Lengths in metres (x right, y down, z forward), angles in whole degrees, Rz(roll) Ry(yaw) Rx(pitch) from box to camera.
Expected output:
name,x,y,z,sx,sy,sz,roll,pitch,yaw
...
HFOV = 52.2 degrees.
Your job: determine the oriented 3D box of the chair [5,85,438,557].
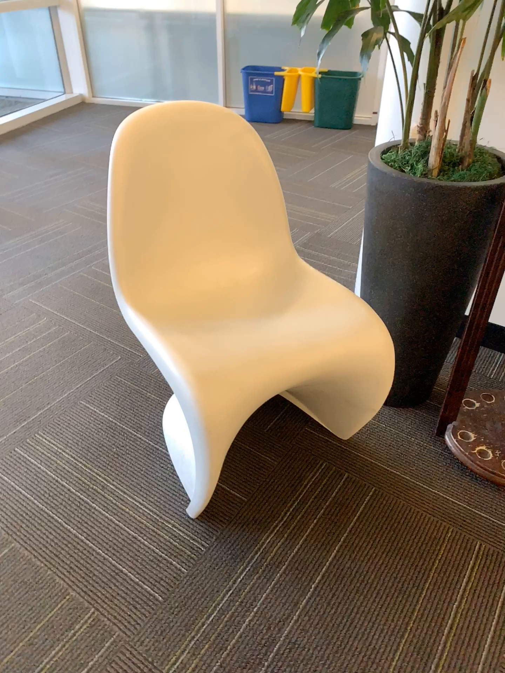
name,x,y,z,sx,sy,sz,roll,pitch,yaw
chair,-0.065,-0.087,1.219,0.601,0.775,0.582,-28,45,-33
